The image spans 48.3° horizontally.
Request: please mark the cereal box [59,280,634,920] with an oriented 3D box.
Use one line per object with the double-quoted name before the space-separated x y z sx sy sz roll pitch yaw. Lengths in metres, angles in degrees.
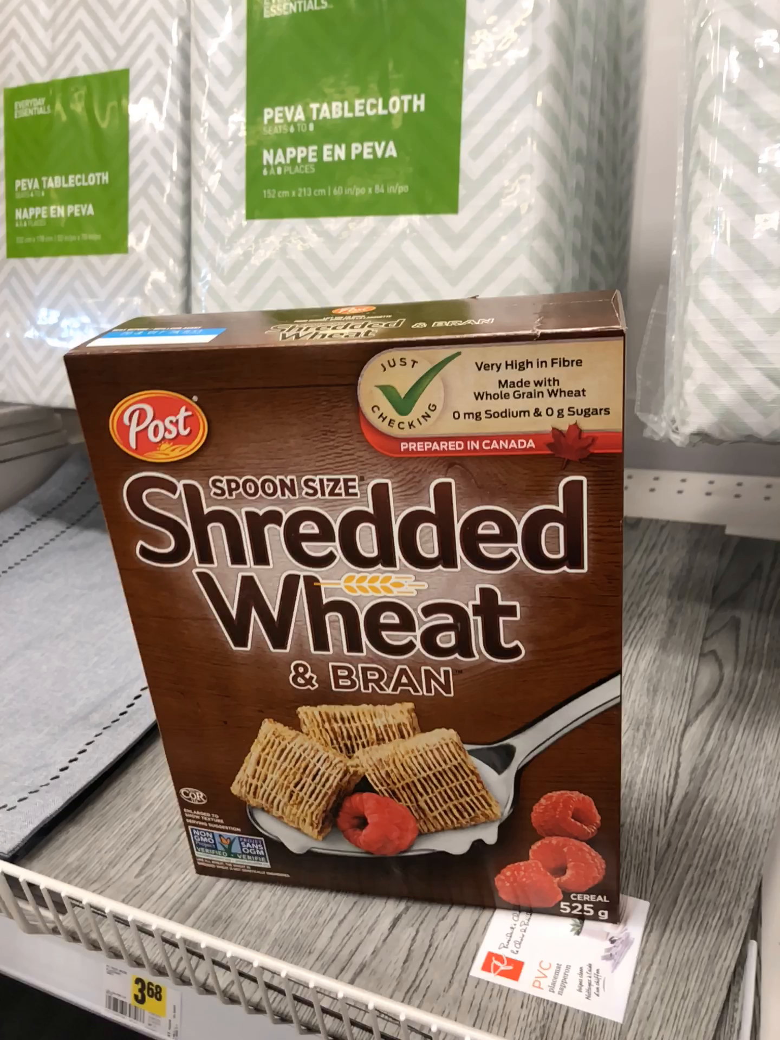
"cereal box" -0.003 0.040 0.376 0.200 0.259 0.070 1 26 14
